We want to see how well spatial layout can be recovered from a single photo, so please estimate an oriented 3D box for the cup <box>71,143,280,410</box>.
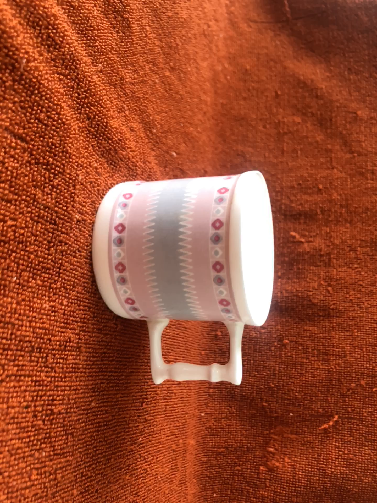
[{"bbox_3d":[-0.001,0.009,0.183,0.060,0.070,0.090,9,82,-69],"label":"cup"}]
